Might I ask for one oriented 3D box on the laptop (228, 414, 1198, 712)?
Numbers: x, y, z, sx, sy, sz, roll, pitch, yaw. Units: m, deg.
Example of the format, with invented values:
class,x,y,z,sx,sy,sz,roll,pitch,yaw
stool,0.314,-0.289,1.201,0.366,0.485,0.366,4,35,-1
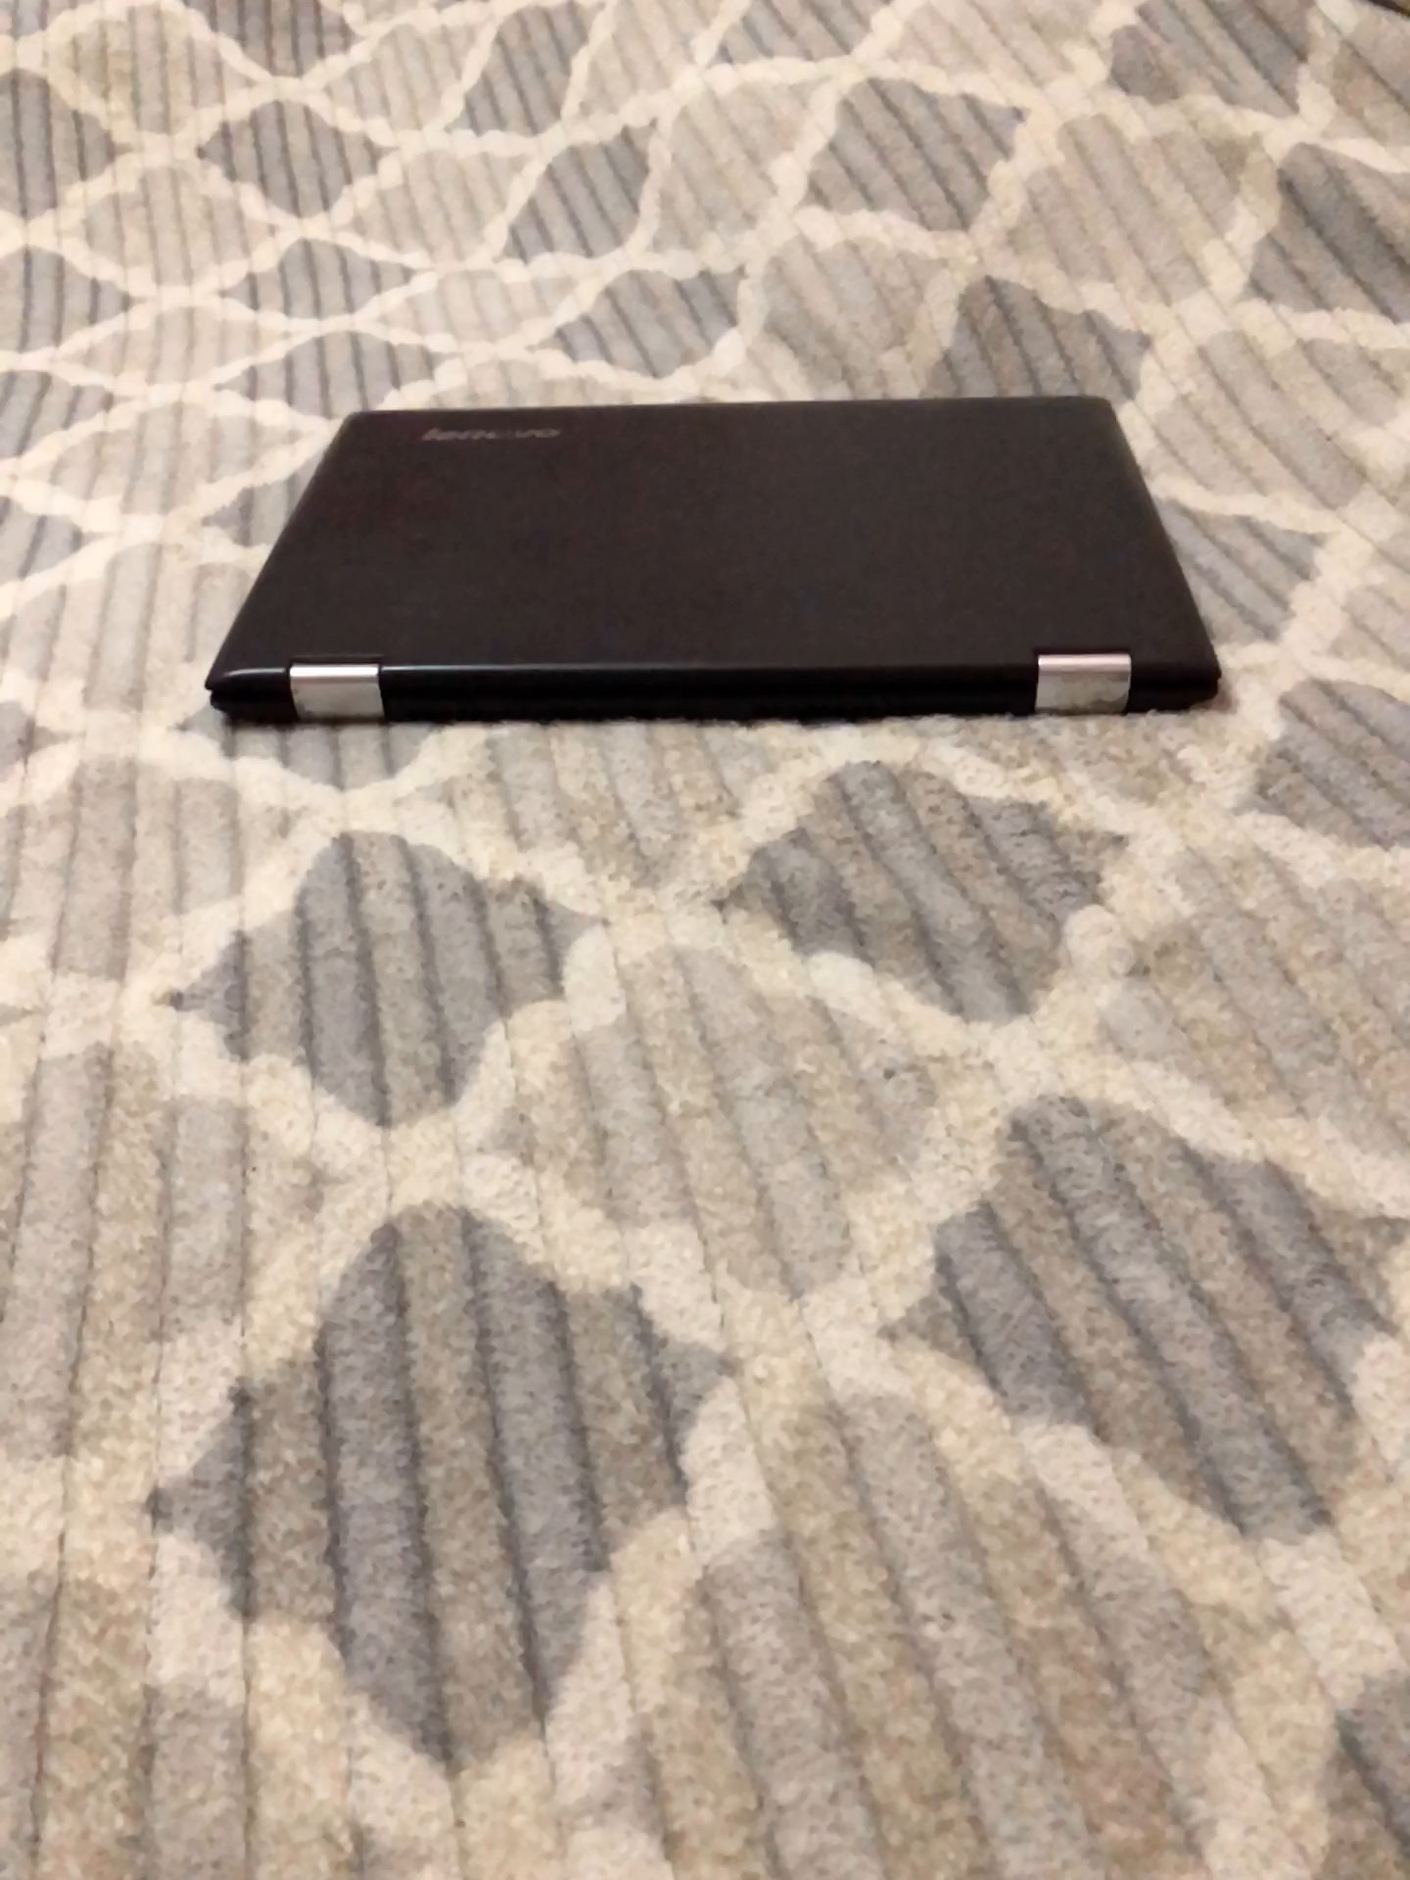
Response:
class,x,y,z,sx,sy,sz,roll,pitch,yaw
laptop,0.005,-0.161,0.632,0.339,0.005,0.232,0,42,2
